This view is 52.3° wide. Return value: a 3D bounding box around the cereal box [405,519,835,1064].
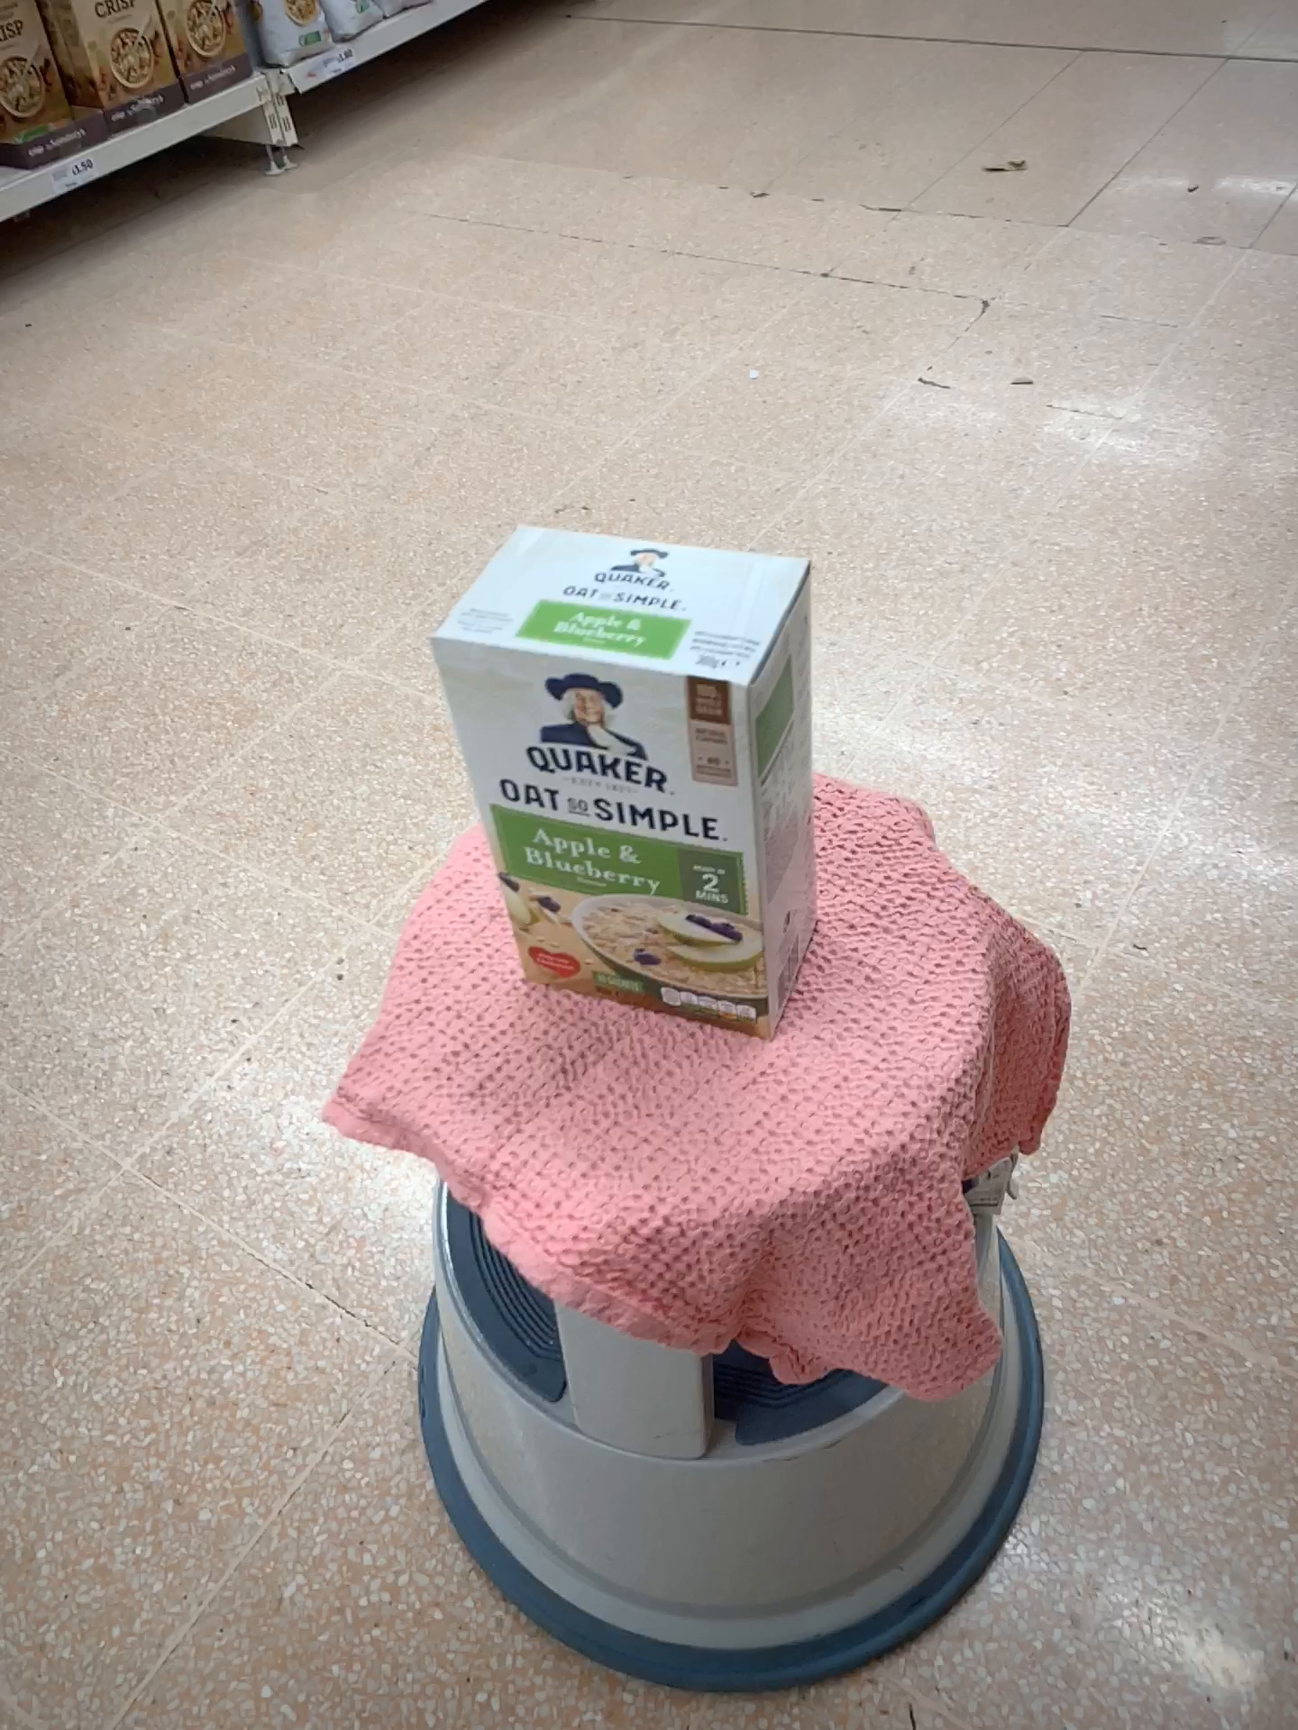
[{"bbox_3d":[0.000,-0.028,0.575,0.140,0.208,0.091,11,48,19],"label":"cereal box"}]
